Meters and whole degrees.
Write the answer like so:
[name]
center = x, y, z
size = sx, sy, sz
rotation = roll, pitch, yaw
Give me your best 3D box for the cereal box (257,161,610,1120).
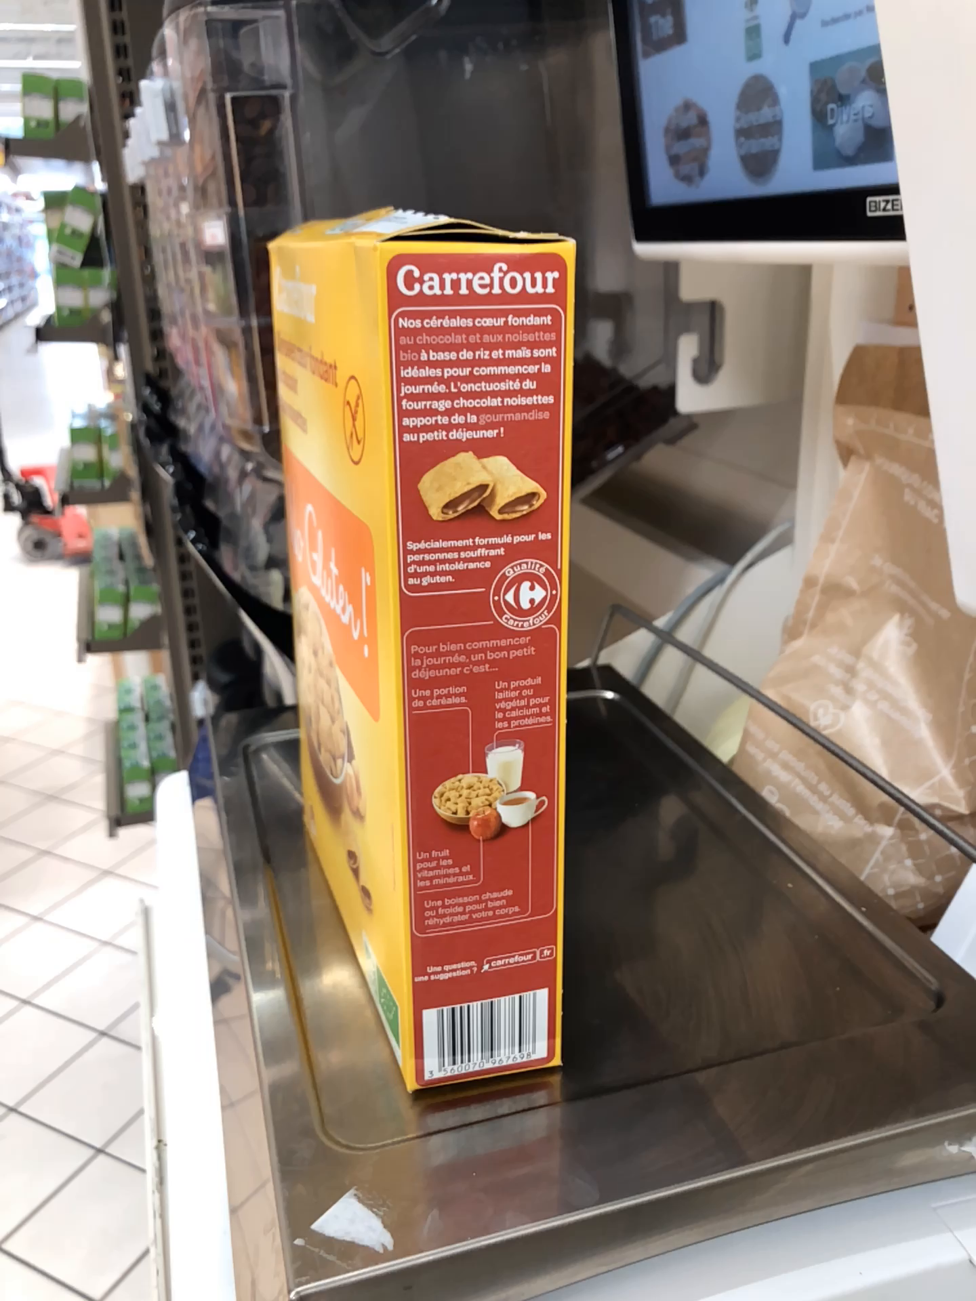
[cereal box]
center = -0.031, -0.019, 0.385
size = 0.060, 0.269, 0.201
rotation = -6, 21, -17
